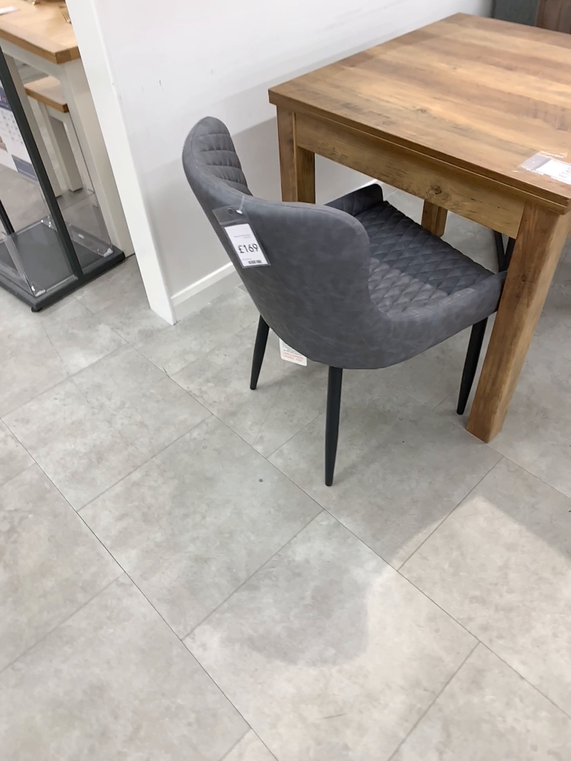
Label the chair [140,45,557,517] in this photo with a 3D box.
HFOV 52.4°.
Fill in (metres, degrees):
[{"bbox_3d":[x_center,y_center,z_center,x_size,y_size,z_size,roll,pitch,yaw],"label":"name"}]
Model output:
[{"bbox_3d":[0.115,-0.221,1.342,0.551,0.775,0.531,-27,50,-21],"label":"chair"}]
